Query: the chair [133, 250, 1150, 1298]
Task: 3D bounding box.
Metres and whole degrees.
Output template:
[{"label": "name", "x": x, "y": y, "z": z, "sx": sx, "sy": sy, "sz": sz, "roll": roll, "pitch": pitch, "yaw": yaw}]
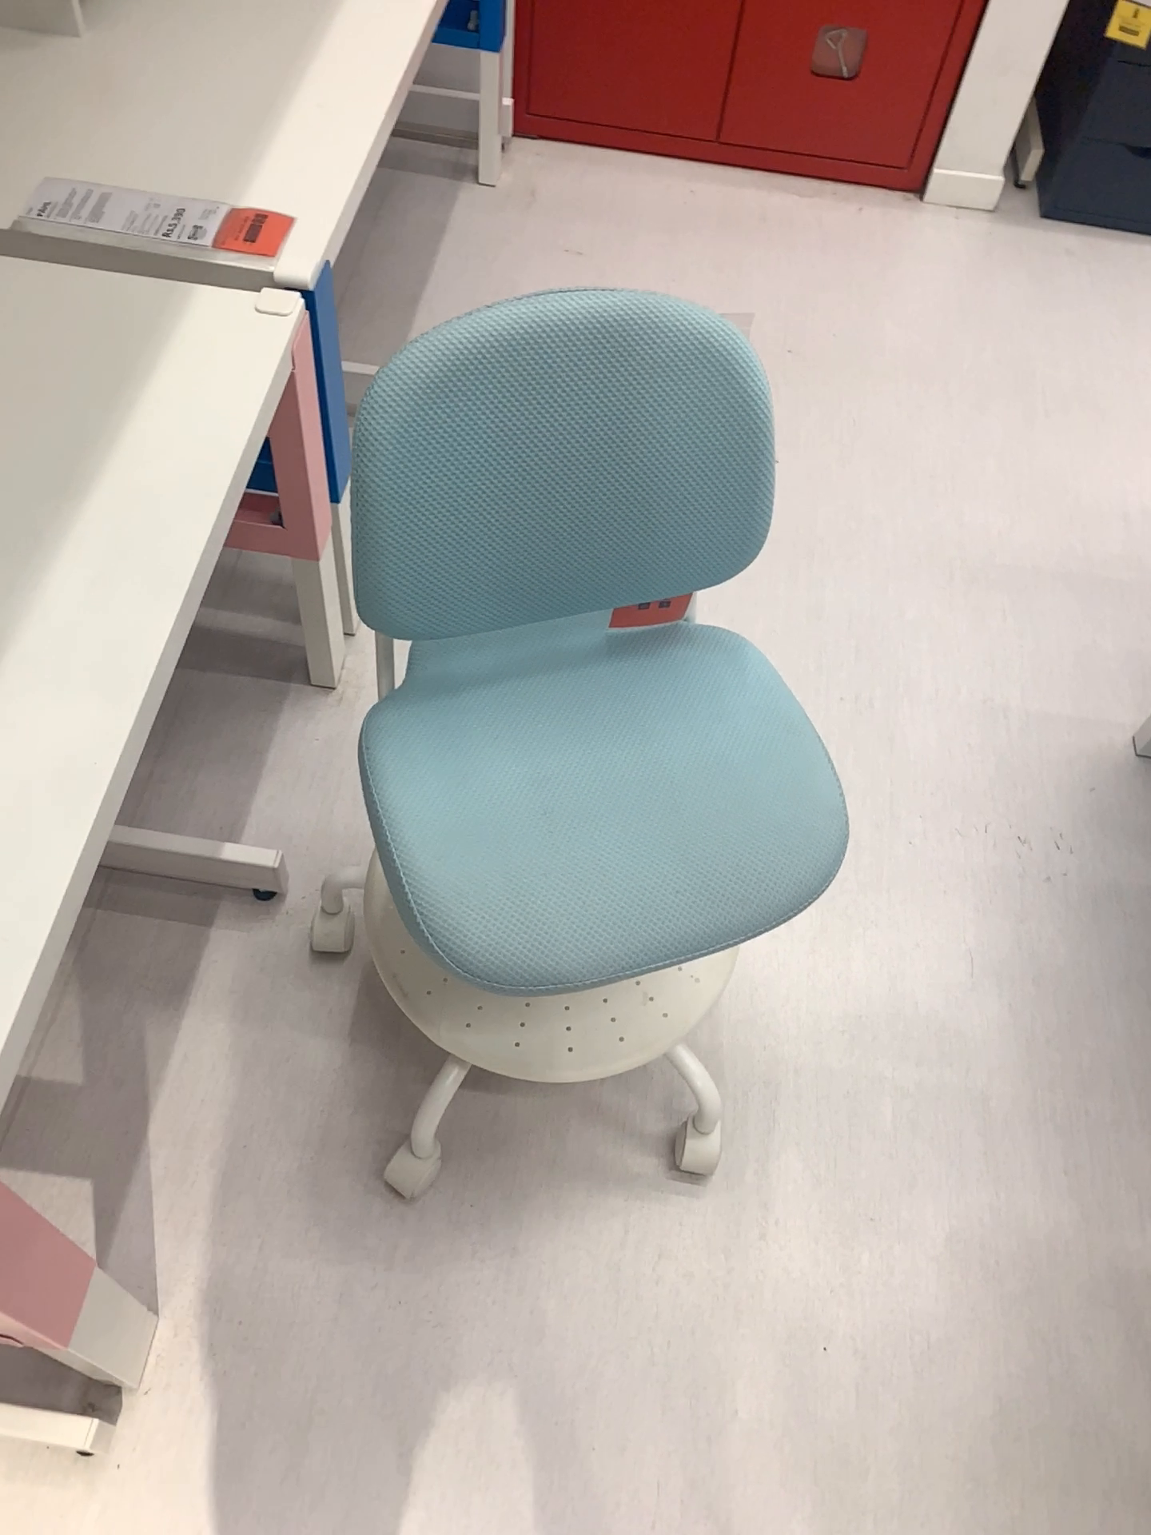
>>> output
[{"label": "chair", "x": -0.001, "y": 0.031, "z": 1.114, "sx": 0.580, "sy": 0.678, "sz": 0.611, "roll": -14, "pitch": 58, "yaw": -14}]
